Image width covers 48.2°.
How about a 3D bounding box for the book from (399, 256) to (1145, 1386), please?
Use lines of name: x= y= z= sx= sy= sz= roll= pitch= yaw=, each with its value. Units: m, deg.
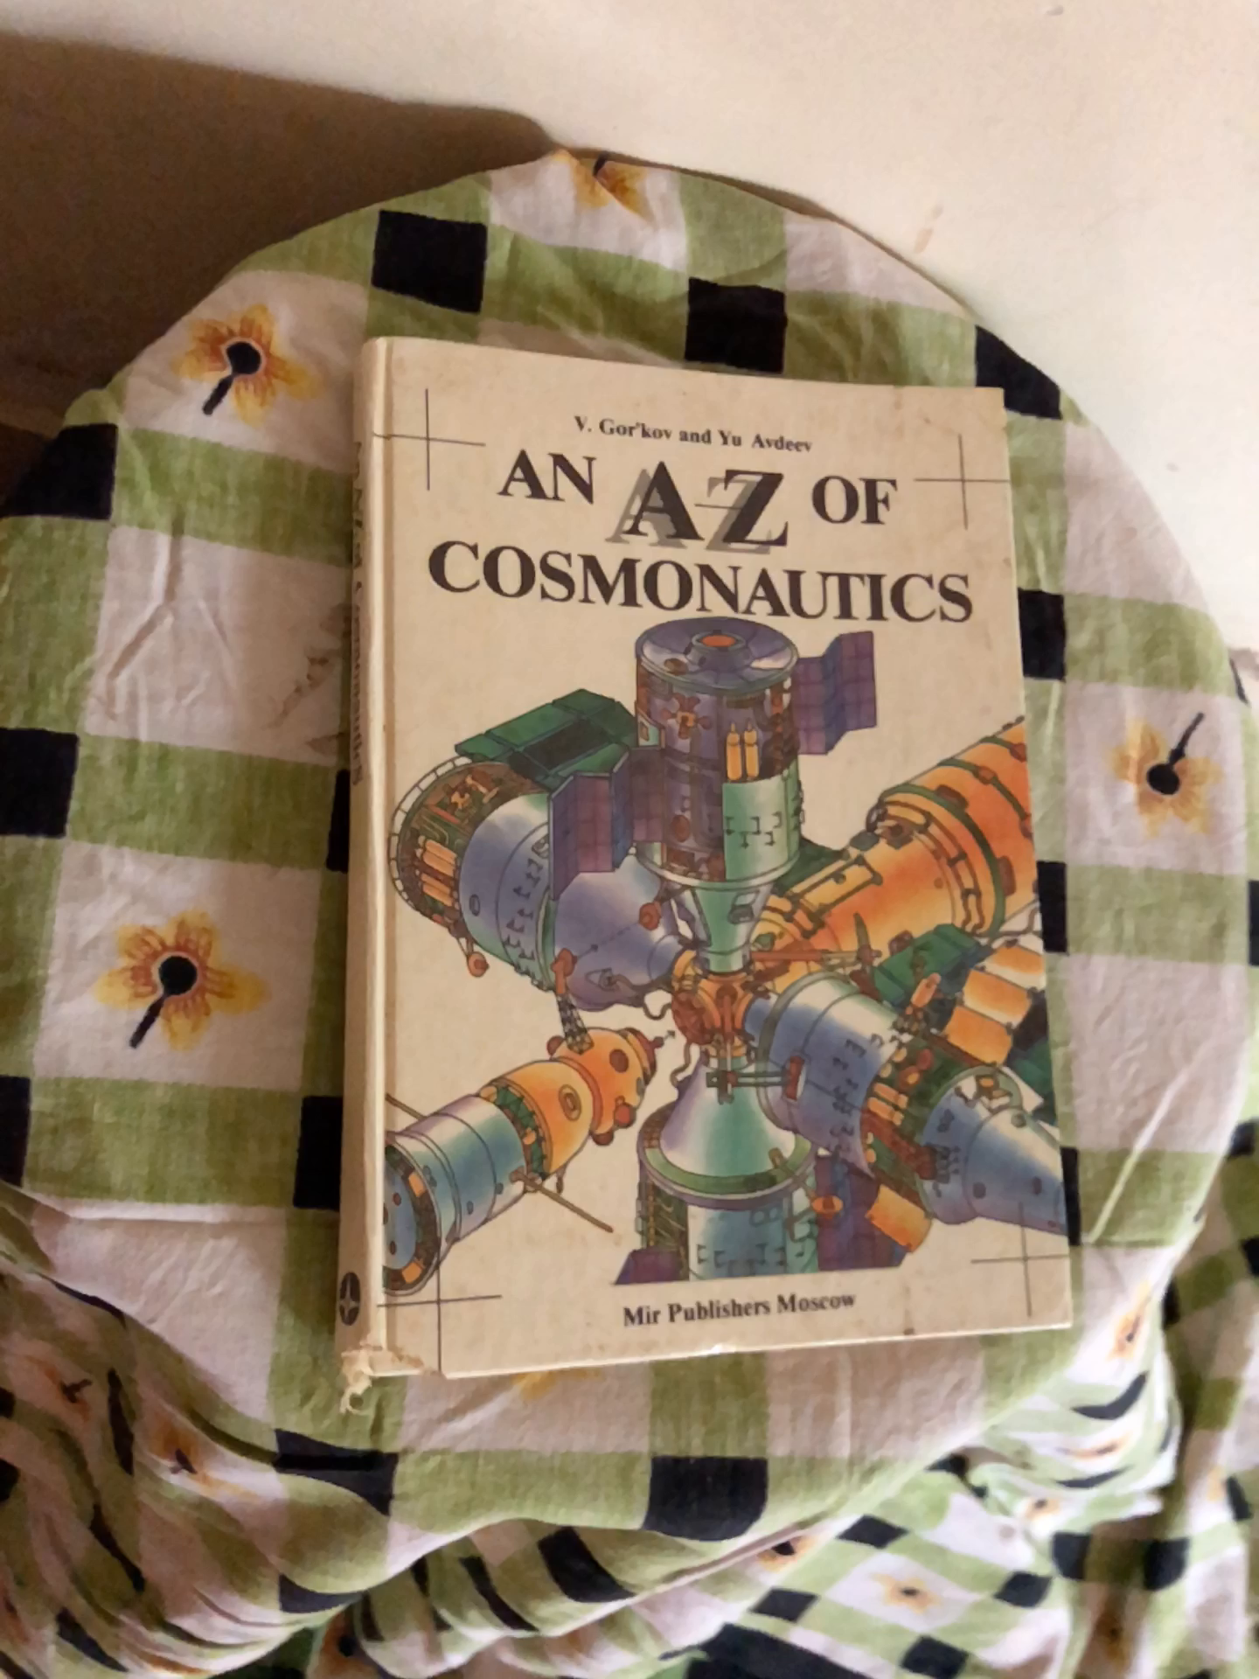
book: x=0.033 y=-0.006 z=0.383 sx=0.180 sy=0.060 sz=0.270 roll=2 pitch=79 yaw=-17
